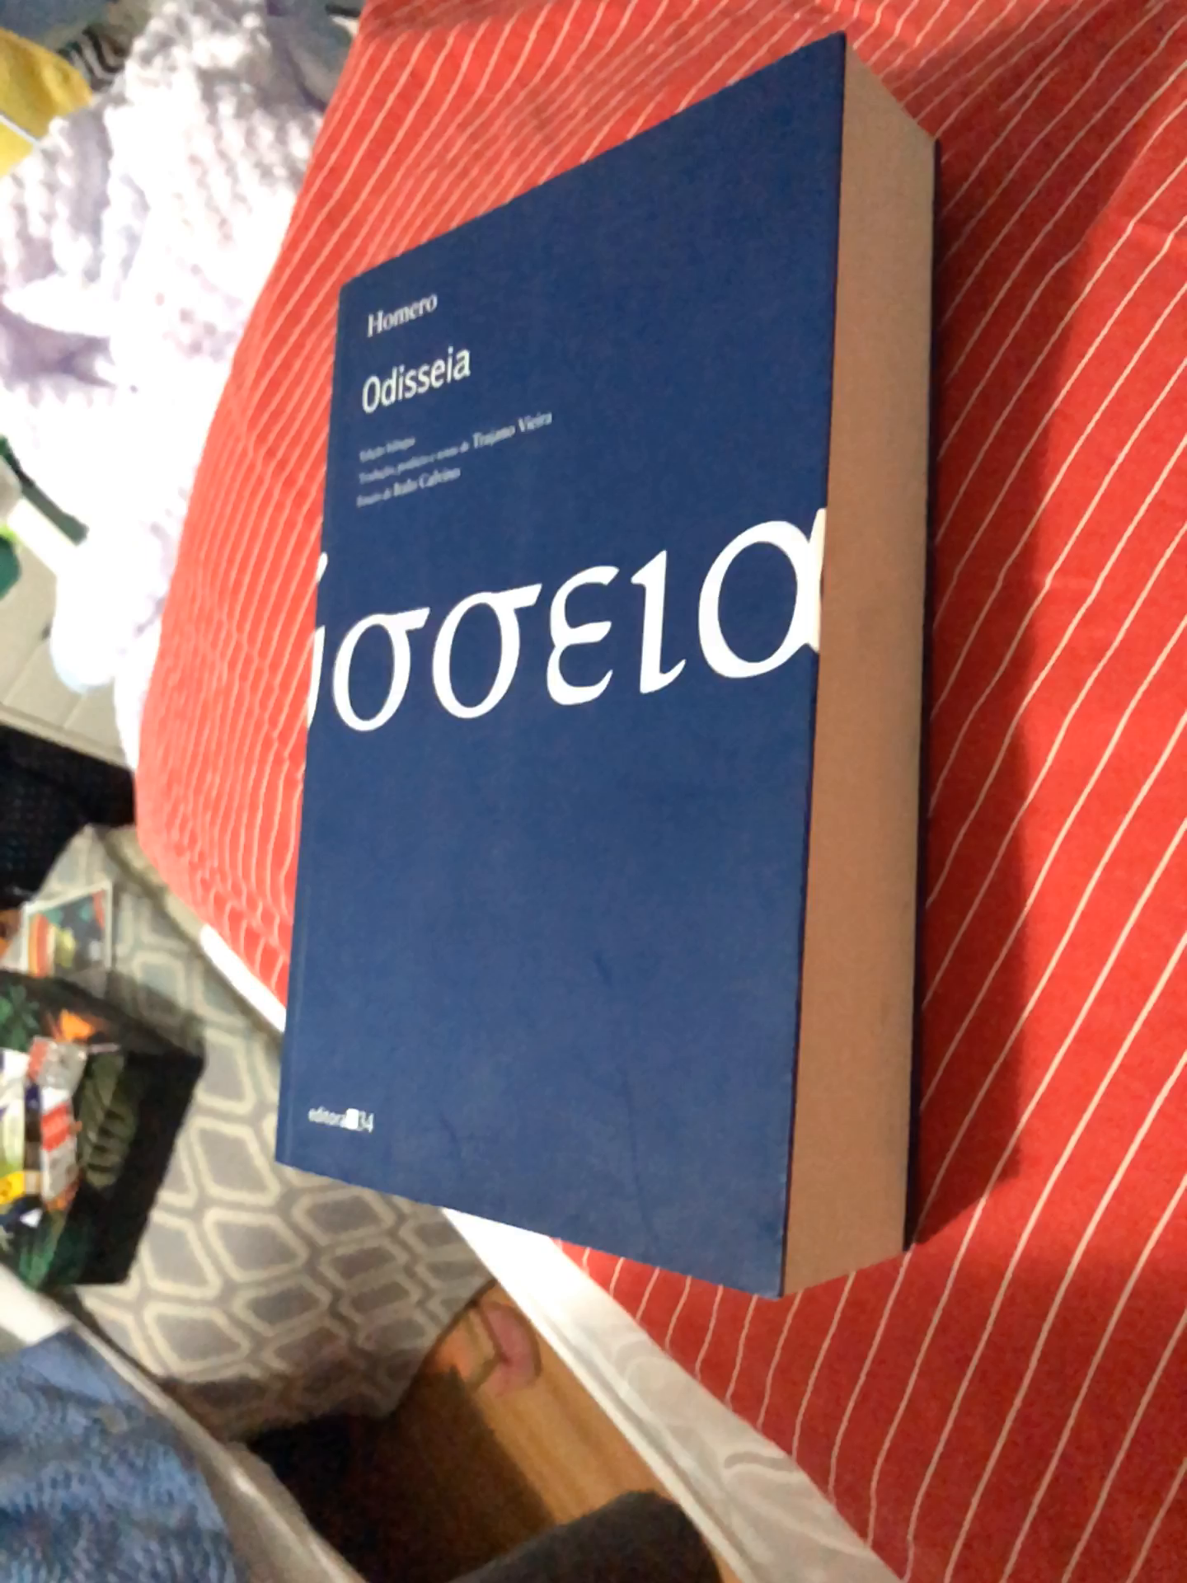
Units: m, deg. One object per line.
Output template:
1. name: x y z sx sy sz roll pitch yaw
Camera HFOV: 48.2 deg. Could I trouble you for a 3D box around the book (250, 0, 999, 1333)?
1. book: -0.002 -0.024 0.293 0.171 0.040 0.230 -4 79 45
